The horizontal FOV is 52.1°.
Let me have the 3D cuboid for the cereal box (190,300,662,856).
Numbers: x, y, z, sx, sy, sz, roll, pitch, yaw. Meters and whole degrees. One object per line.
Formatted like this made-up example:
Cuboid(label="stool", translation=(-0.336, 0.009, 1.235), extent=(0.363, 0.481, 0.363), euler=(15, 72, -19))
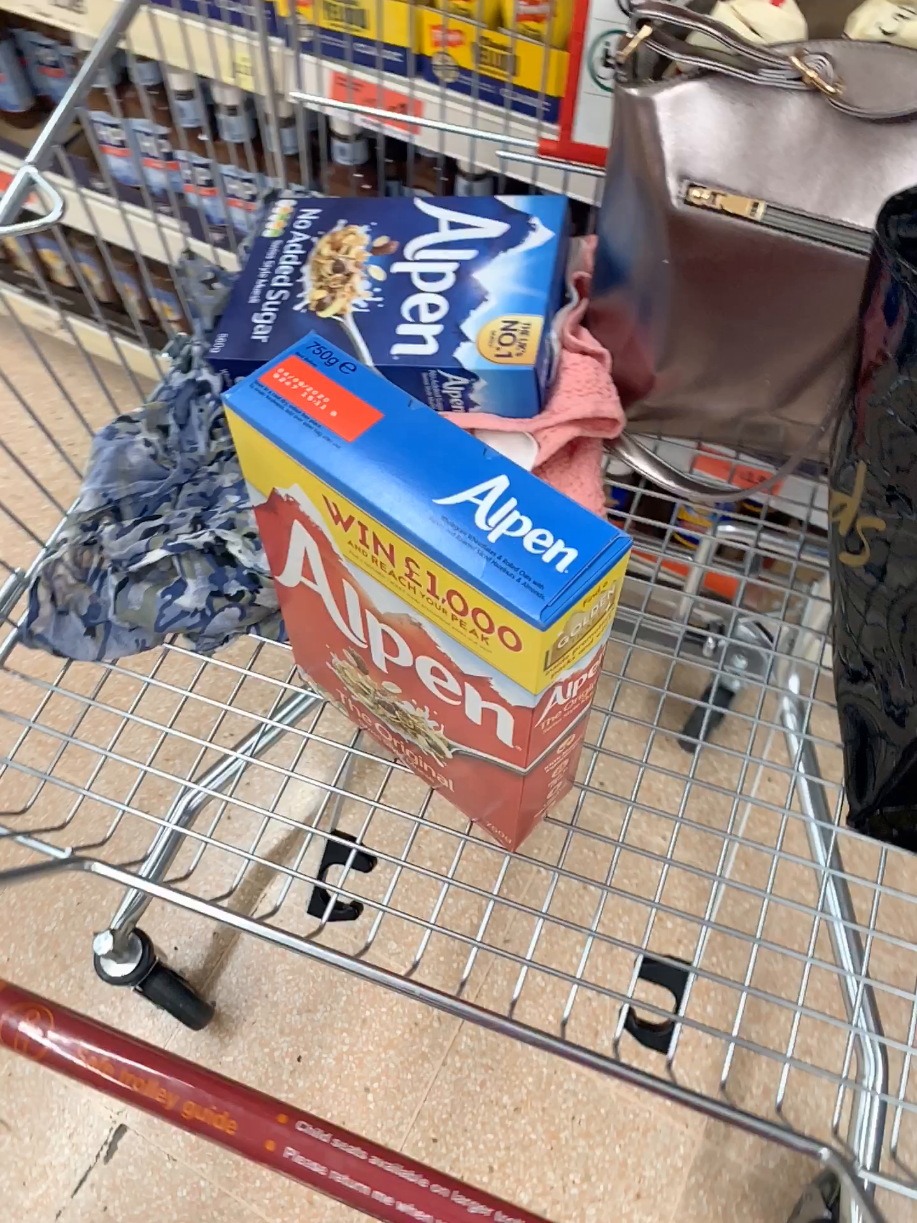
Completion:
Cuboid(label="cereal box", translation=(-0.017, 0.003, 0.457), extent=(0.180, 0.248, 0.060), euler=(36, 65, 19))
